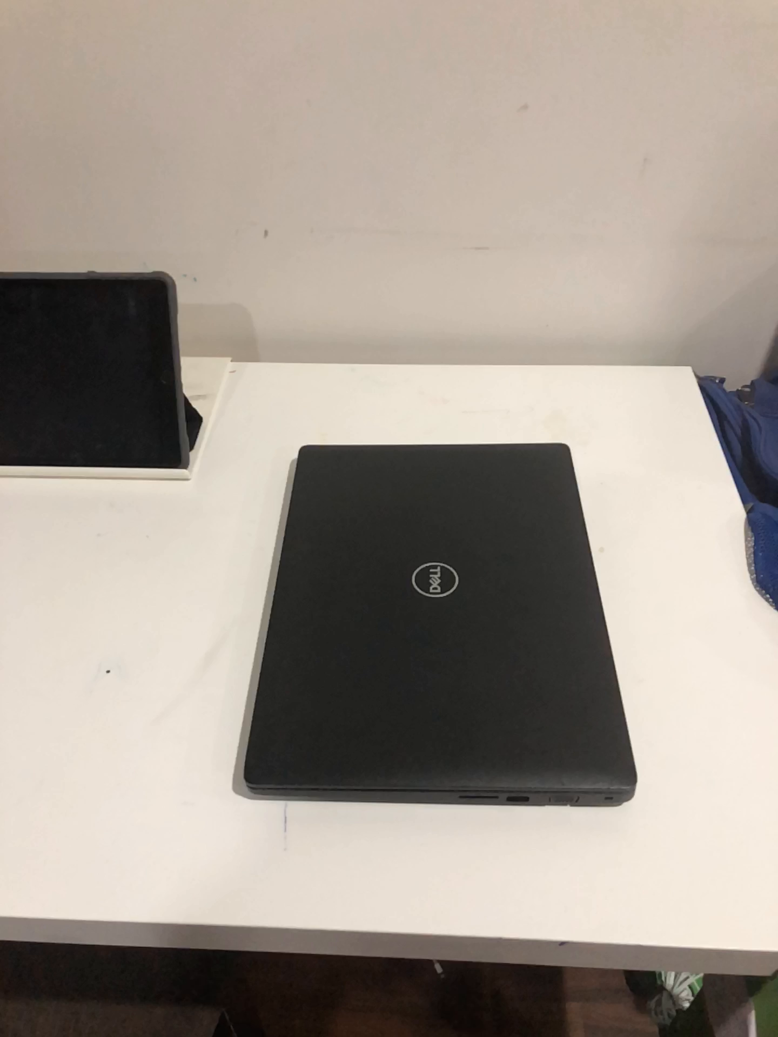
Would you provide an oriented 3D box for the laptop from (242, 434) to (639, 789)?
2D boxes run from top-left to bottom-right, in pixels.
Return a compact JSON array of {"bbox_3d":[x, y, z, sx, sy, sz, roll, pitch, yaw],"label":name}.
[{"bbox_3d":[0.034,0.047,0.642,0.241,0.010,0.334,-1,44,4],"label":"laptop"}]
